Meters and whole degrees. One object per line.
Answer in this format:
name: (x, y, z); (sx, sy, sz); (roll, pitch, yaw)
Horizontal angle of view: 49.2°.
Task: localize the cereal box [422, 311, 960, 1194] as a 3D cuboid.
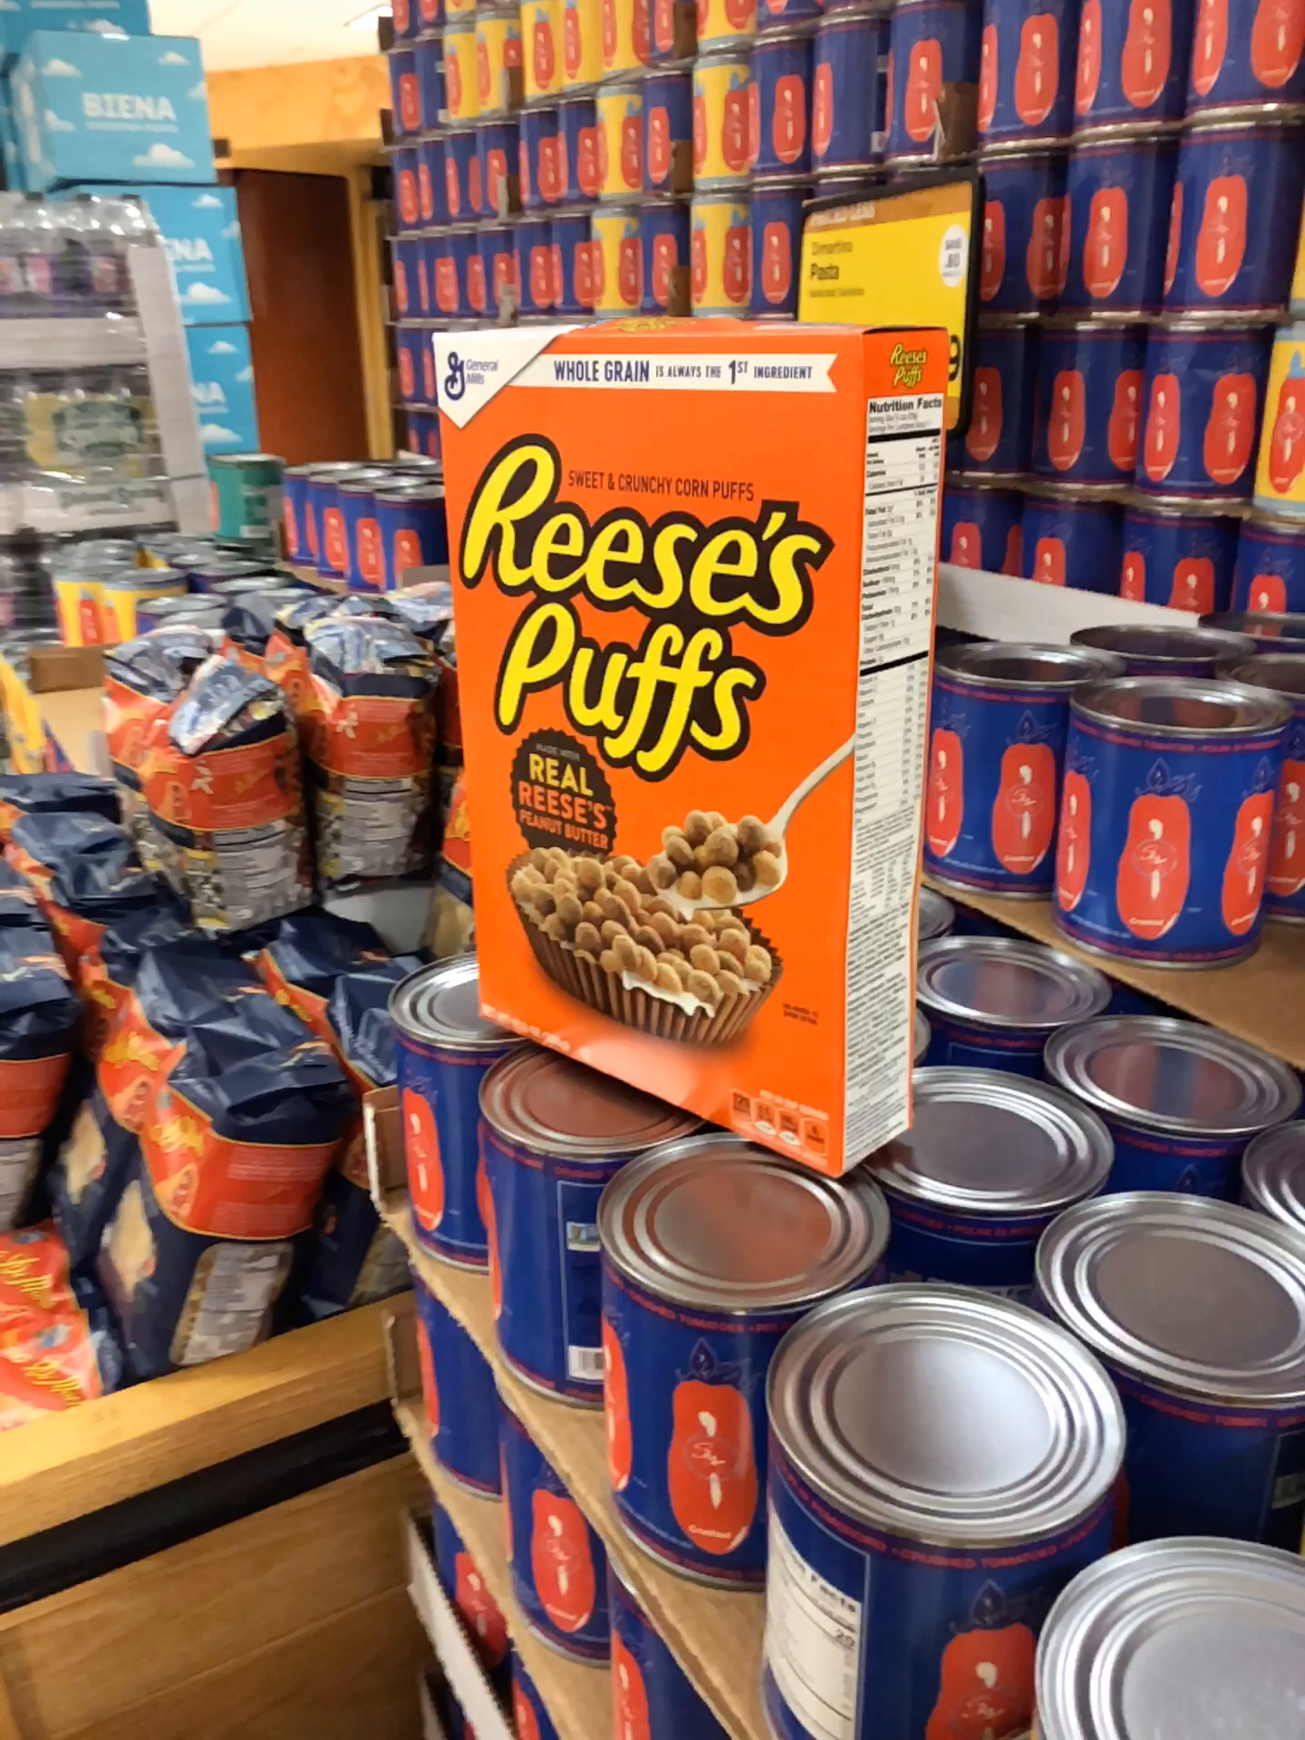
cereal box: (0.007, -0.052, 0.532); (0.200, 0.288, 0.050); (17, 27, 41)
